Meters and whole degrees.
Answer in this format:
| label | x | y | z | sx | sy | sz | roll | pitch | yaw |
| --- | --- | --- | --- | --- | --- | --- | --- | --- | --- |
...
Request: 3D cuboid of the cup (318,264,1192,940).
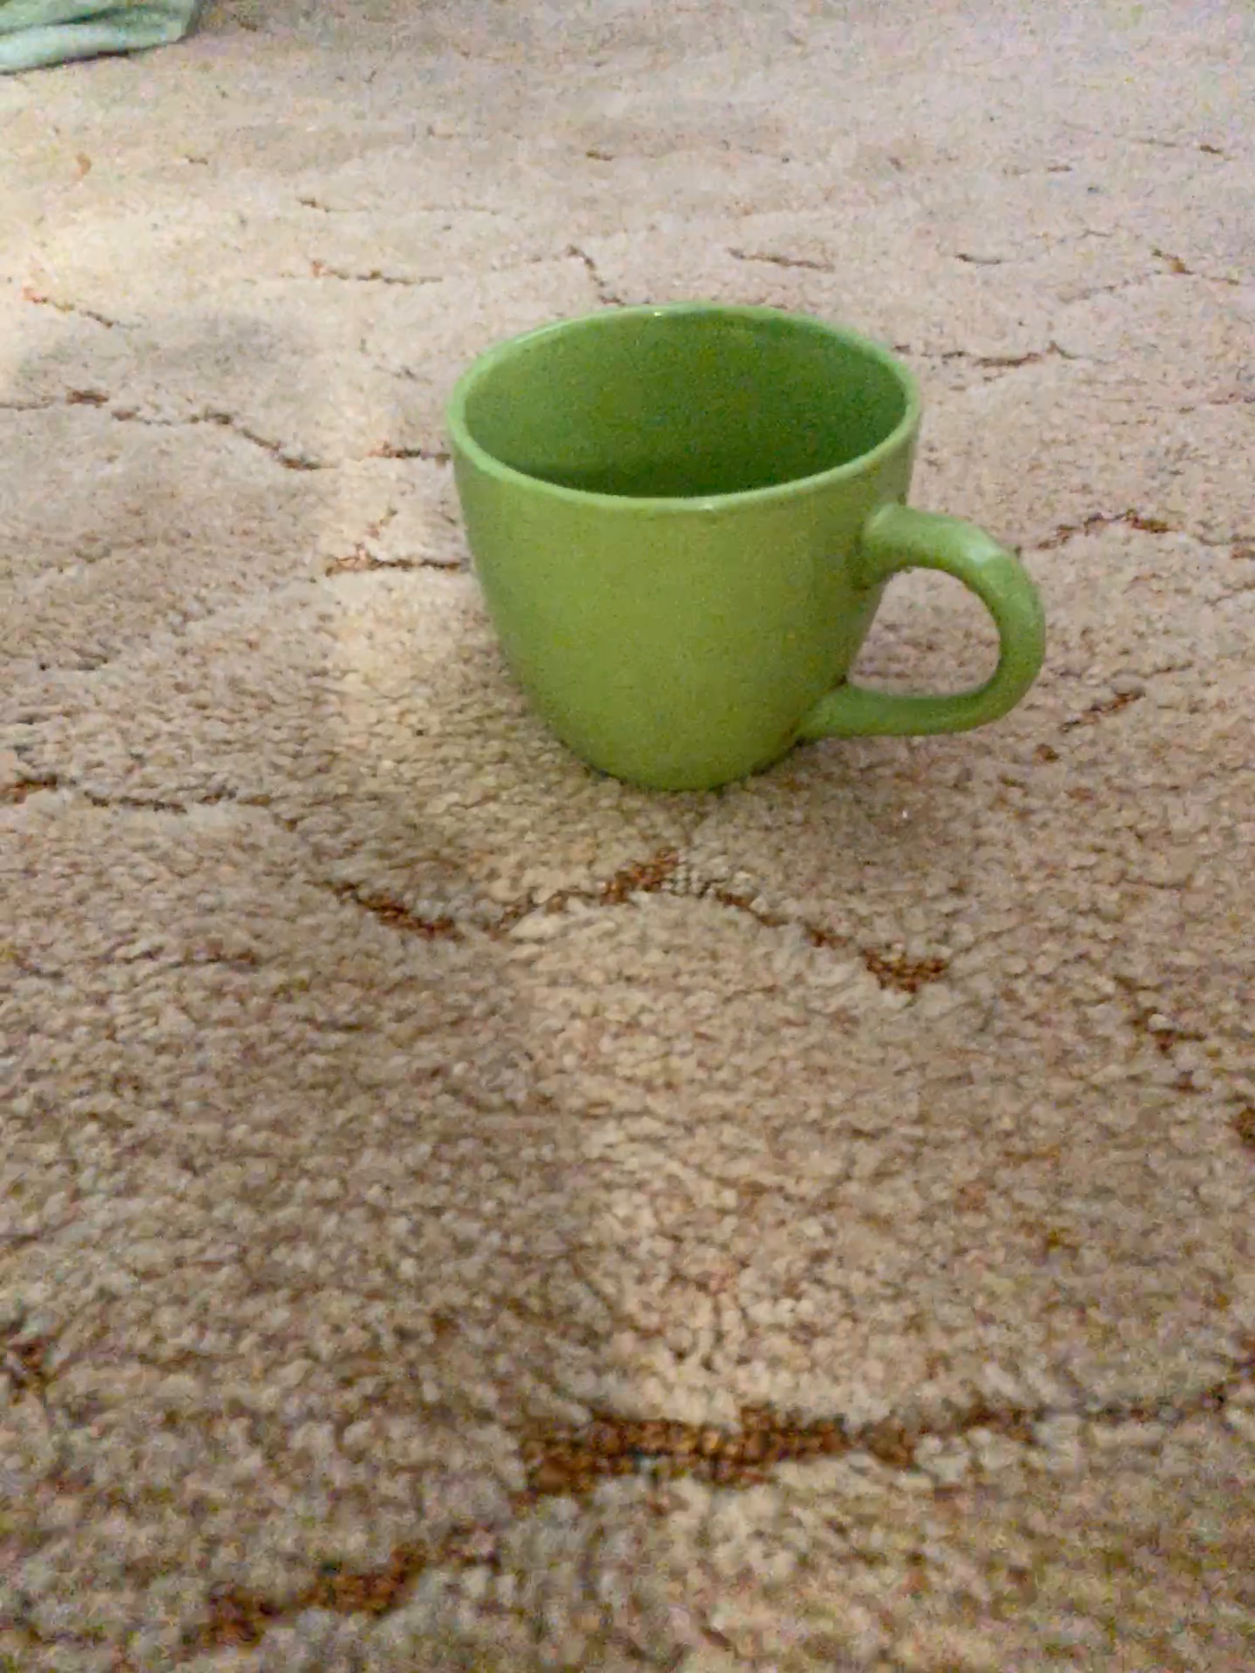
| label | x | y | z | sx | sy | sz | roll | pitch | yaw |
| --- | --- | --- | --- | --- | --- | --- | --- | --- | --- |
| cup | 0.021 | -0.054 | 0.242 | 0.120 | 0.059 | 0.090 | 28 | 47 | 30 |
